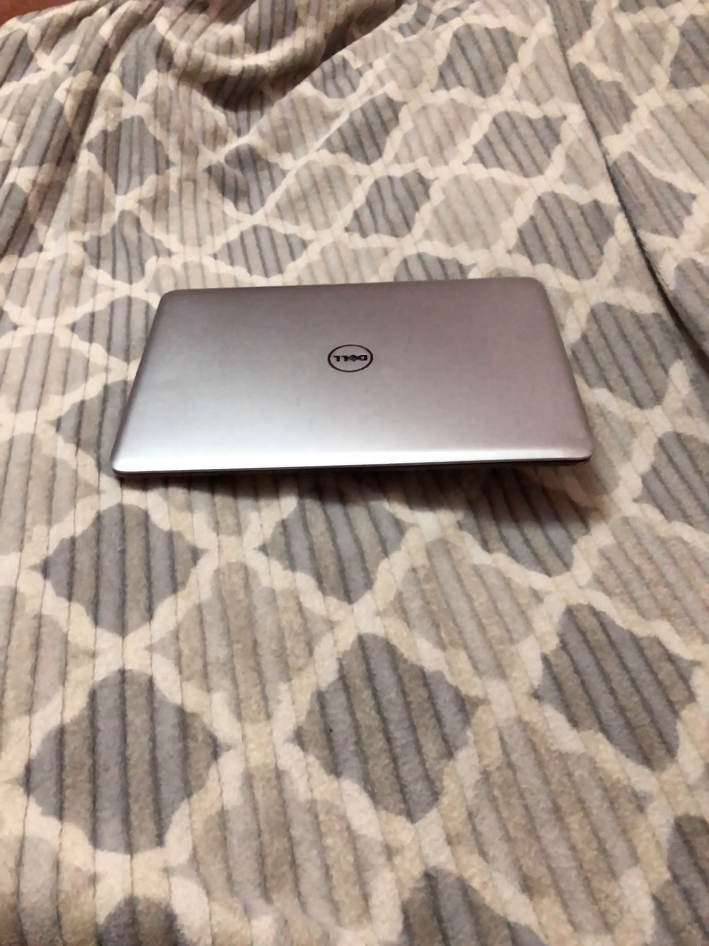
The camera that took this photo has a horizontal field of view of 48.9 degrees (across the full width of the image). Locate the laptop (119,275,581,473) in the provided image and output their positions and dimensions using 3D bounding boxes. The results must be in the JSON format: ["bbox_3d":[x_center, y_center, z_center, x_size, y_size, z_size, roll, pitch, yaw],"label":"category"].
[{"bbox_3d":[-0.006,-0.099,0.696,0.359,0.007,0.253,-2,46,1],"label":"laptop"}]
